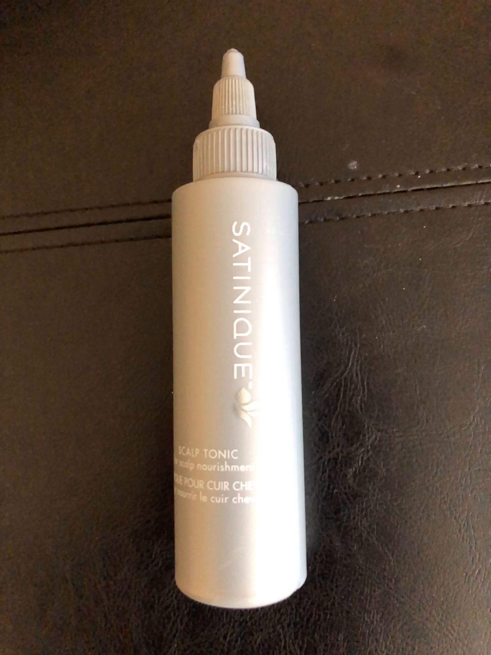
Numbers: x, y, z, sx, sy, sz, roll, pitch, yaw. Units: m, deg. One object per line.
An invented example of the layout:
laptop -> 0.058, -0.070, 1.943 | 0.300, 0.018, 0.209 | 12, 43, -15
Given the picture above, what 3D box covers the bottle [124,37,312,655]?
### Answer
bottle -> -0.005, 0.004, 0.147 | 0.040, 0.040, 0.140 | -2, 88, 7
